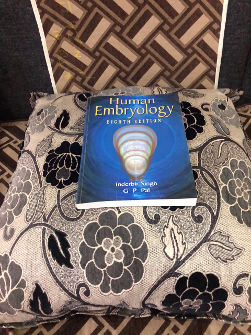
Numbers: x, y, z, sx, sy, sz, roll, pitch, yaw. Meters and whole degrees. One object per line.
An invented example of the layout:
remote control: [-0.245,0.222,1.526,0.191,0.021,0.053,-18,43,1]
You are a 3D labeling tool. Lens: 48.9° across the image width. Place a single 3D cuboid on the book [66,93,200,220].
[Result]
book: [0.011,-0.036,0.507,0.200,0.030,0.271,0,54,1]
